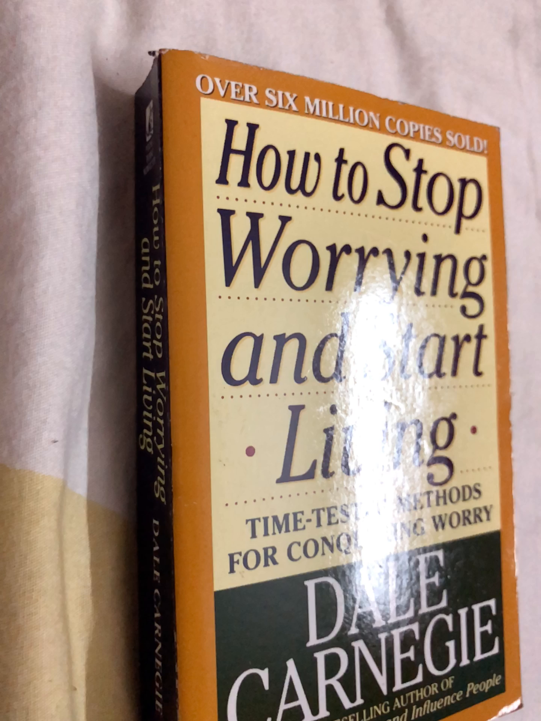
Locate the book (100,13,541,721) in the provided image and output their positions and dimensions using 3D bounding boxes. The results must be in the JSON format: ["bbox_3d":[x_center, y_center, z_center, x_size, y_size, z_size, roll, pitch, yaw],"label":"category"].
[{"bbox_3d":[0.018,0.017,0.170,0.110,0.050,0.170,-1,88,-33],"label":"book"}]
